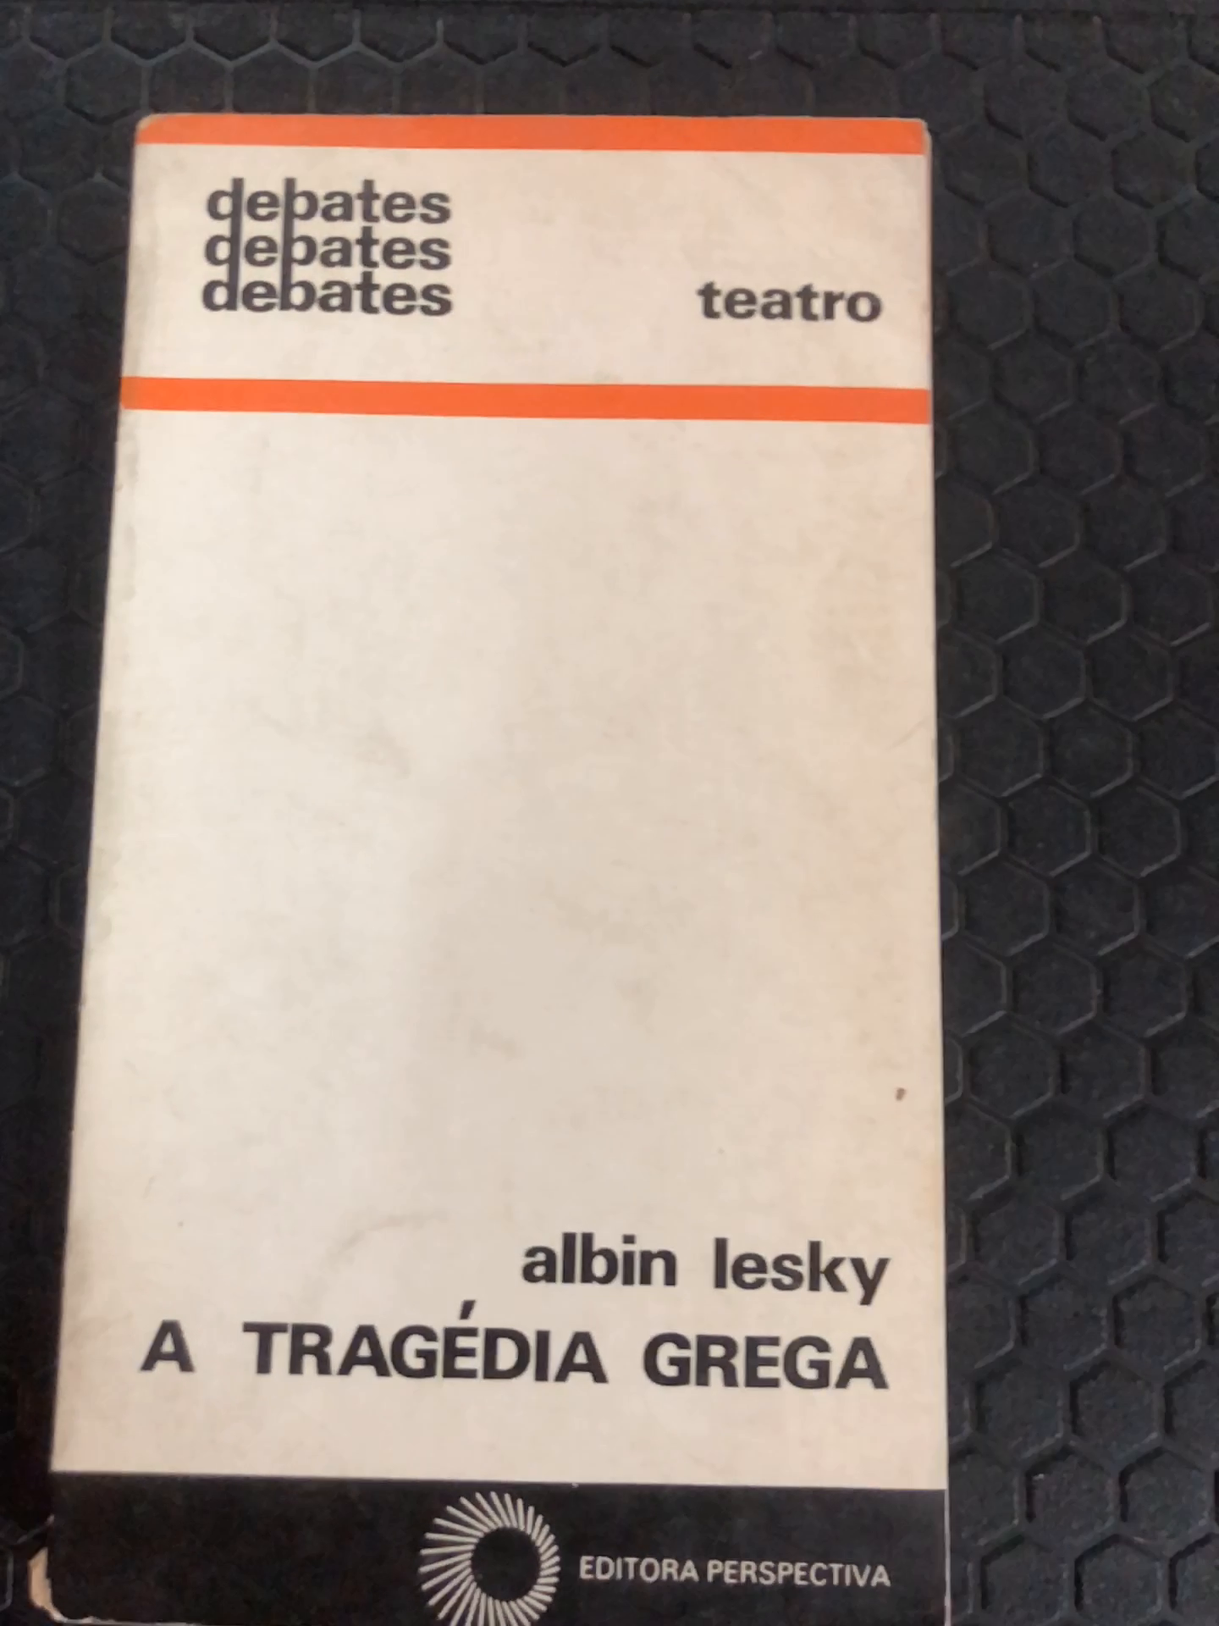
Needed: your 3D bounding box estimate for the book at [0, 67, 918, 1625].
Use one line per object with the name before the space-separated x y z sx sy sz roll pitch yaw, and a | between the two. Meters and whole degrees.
book | -0.017 0.000 0.189 0.114 0.020 0.207 1 83 0
